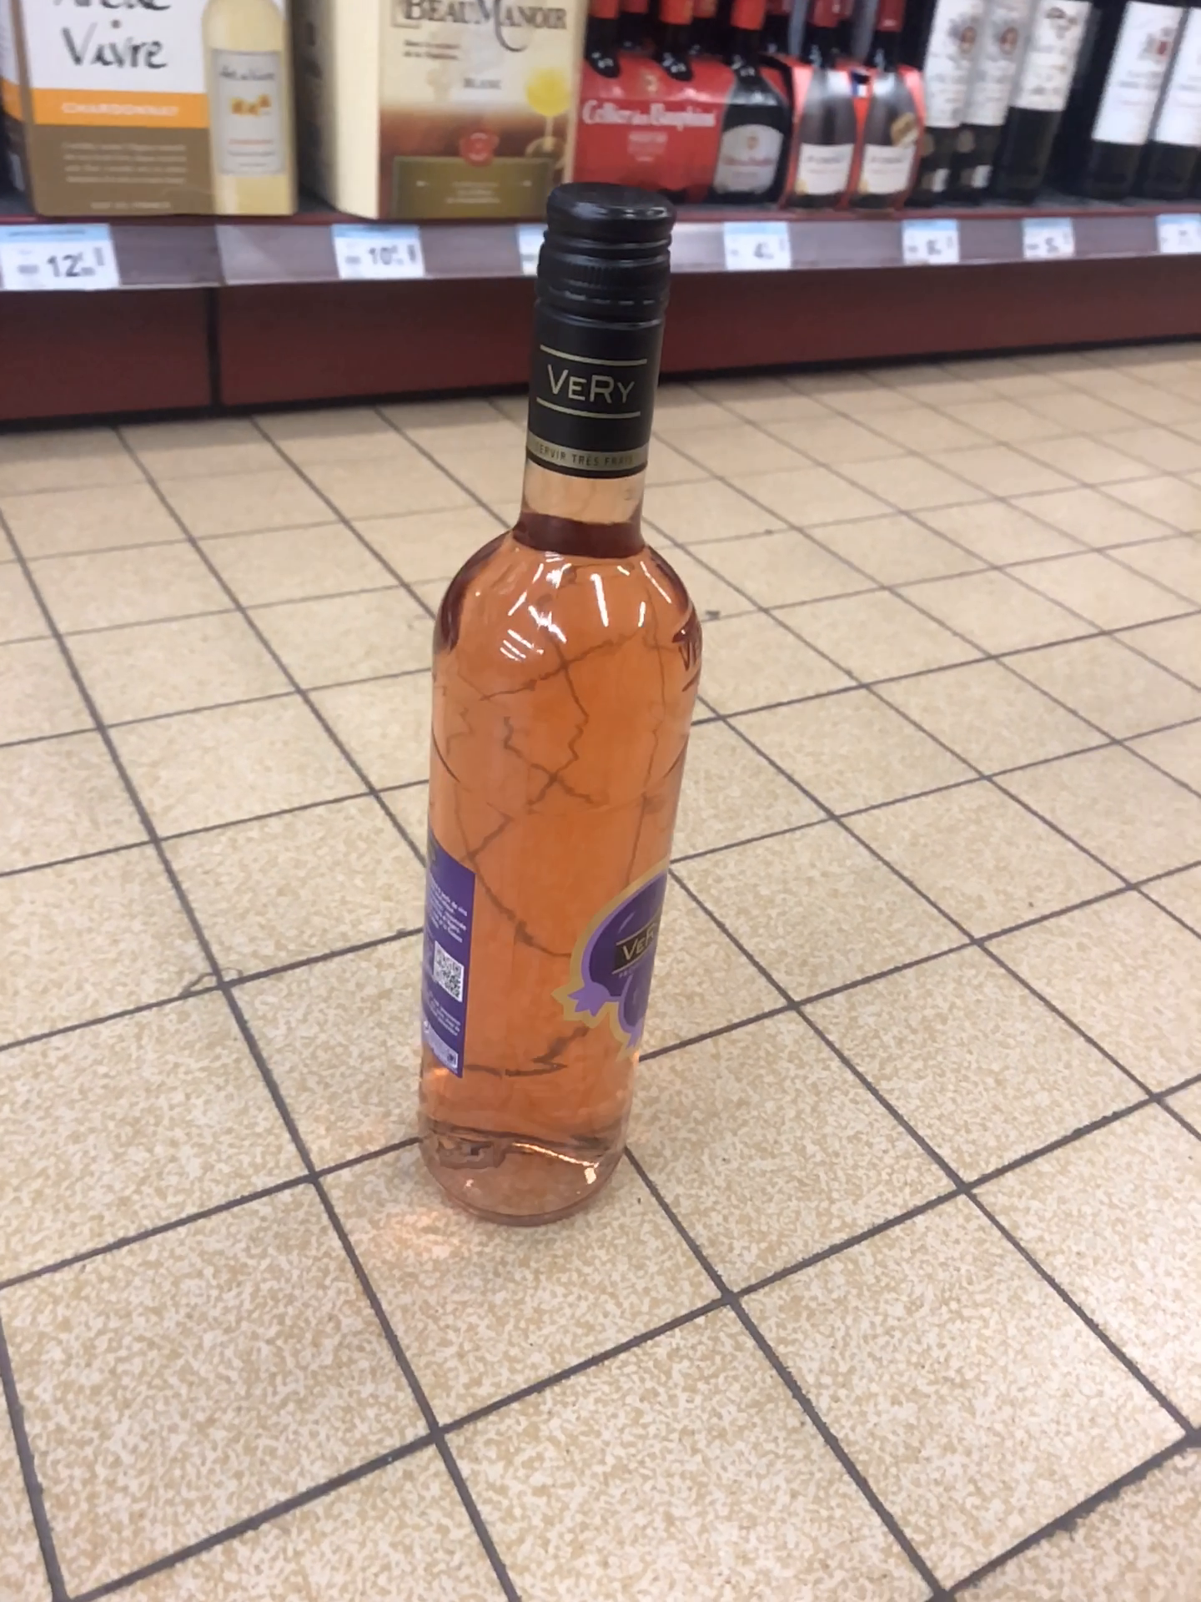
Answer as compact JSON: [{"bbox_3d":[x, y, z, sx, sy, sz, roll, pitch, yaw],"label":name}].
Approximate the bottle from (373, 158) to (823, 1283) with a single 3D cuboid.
[{"bbox_3d":[-0.015,0.000,0.359,0.080,0.298,0.080,5,33,-3],"label":"bottle"}]
